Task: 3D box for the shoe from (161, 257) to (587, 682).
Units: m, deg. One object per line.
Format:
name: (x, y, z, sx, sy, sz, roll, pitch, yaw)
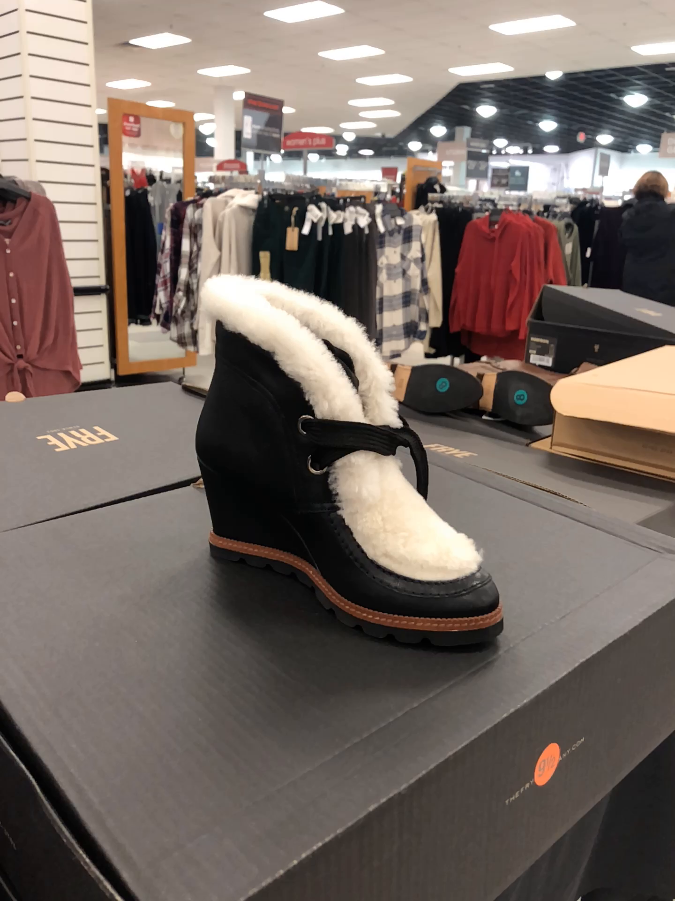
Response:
shoe: (0.011, -0.010, 0.486, 0.247, 0.208, 0.101, 14, 21, 34)
